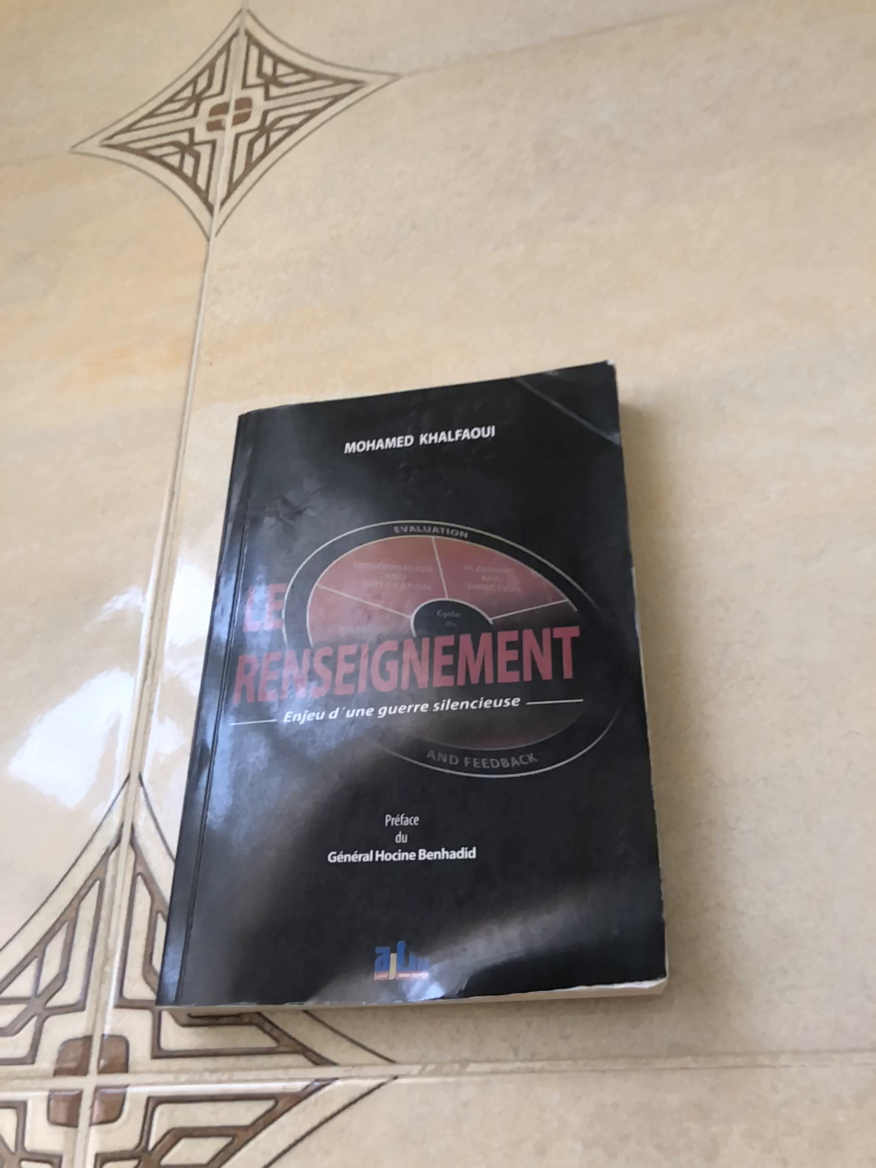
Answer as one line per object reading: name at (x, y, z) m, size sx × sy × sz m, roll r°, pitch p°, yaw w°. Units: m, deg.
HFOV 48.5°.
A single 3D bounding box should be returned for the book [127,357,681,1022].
book at (-0.011, 0.027, 0.312) m, size 0.146 × 0.037 × 0.201 m, roll -6°, pitch 62°, yaw 9°
